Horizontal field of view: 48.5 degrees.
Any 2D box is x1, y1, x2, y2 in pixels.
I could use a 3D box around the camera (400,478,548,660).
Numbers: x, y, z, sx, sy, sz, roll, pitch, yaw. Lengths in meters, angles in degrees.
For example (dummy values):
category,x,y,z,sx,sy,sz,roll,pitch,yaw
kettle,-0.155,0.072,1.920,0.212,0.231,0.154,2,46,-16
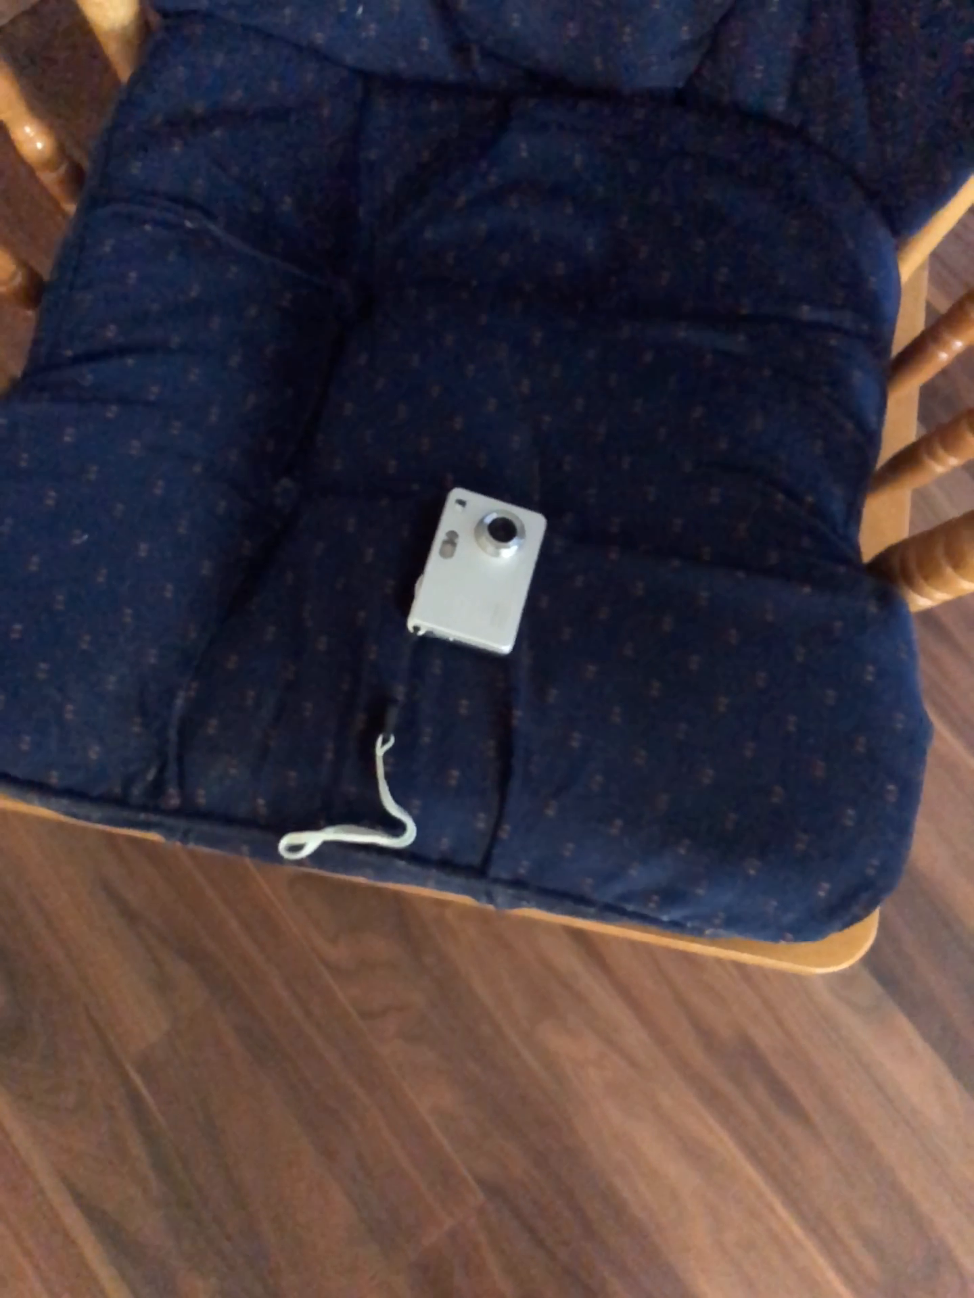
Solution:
category,x,y,z,sx,sy,sz,roll,pitch,yaw
camera,-0.006,-0.044,0.577,0.058,0.018,0.085,17,68,-2
